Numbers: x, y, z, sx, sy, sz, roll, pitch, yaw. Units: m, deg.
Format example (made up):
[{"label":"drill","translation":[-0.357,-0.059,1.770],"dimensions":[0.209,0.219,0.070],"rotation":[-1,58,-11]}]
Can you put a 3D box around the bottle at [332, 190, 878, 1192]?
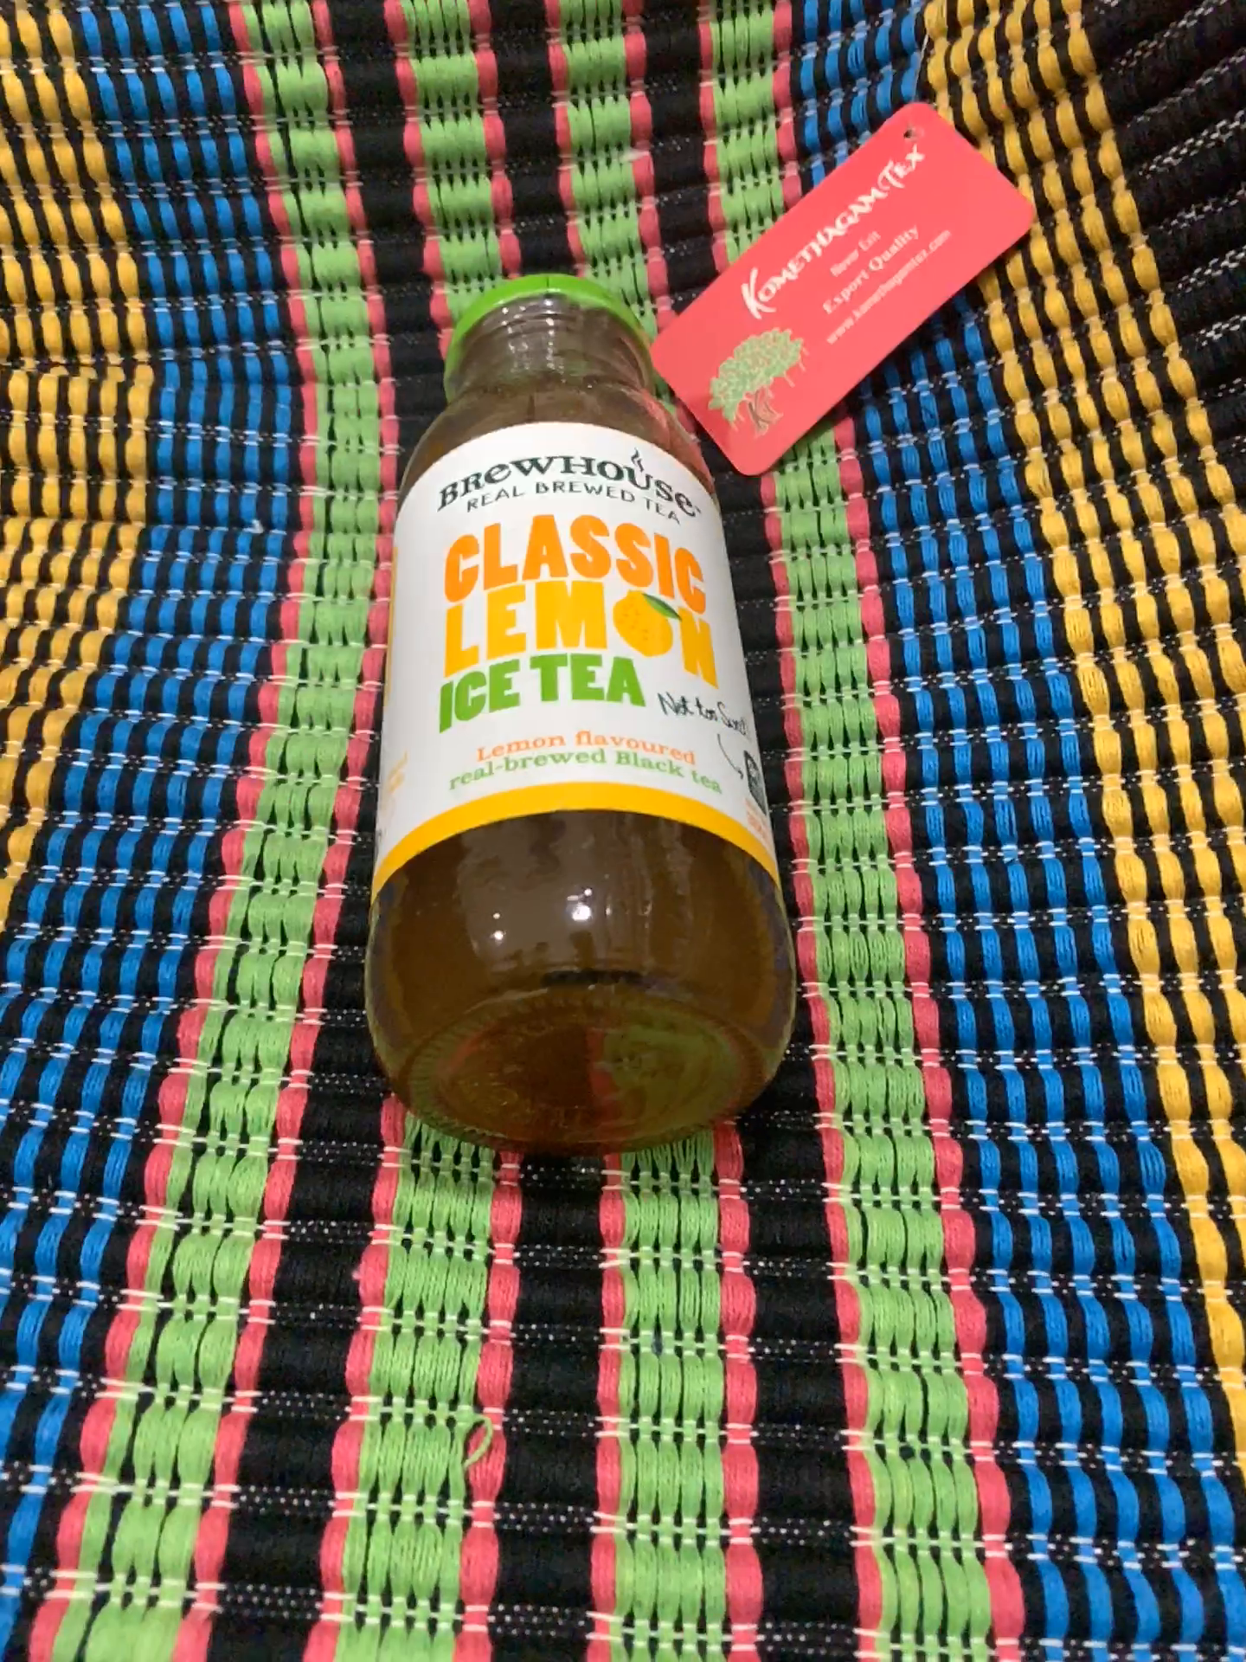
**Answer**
[{"label":"bottle","translation":[-0.010,-0.038,0.217],"dimensions":[0.060,0.050,0.181],"rotation":[-2,52,-5]}]
